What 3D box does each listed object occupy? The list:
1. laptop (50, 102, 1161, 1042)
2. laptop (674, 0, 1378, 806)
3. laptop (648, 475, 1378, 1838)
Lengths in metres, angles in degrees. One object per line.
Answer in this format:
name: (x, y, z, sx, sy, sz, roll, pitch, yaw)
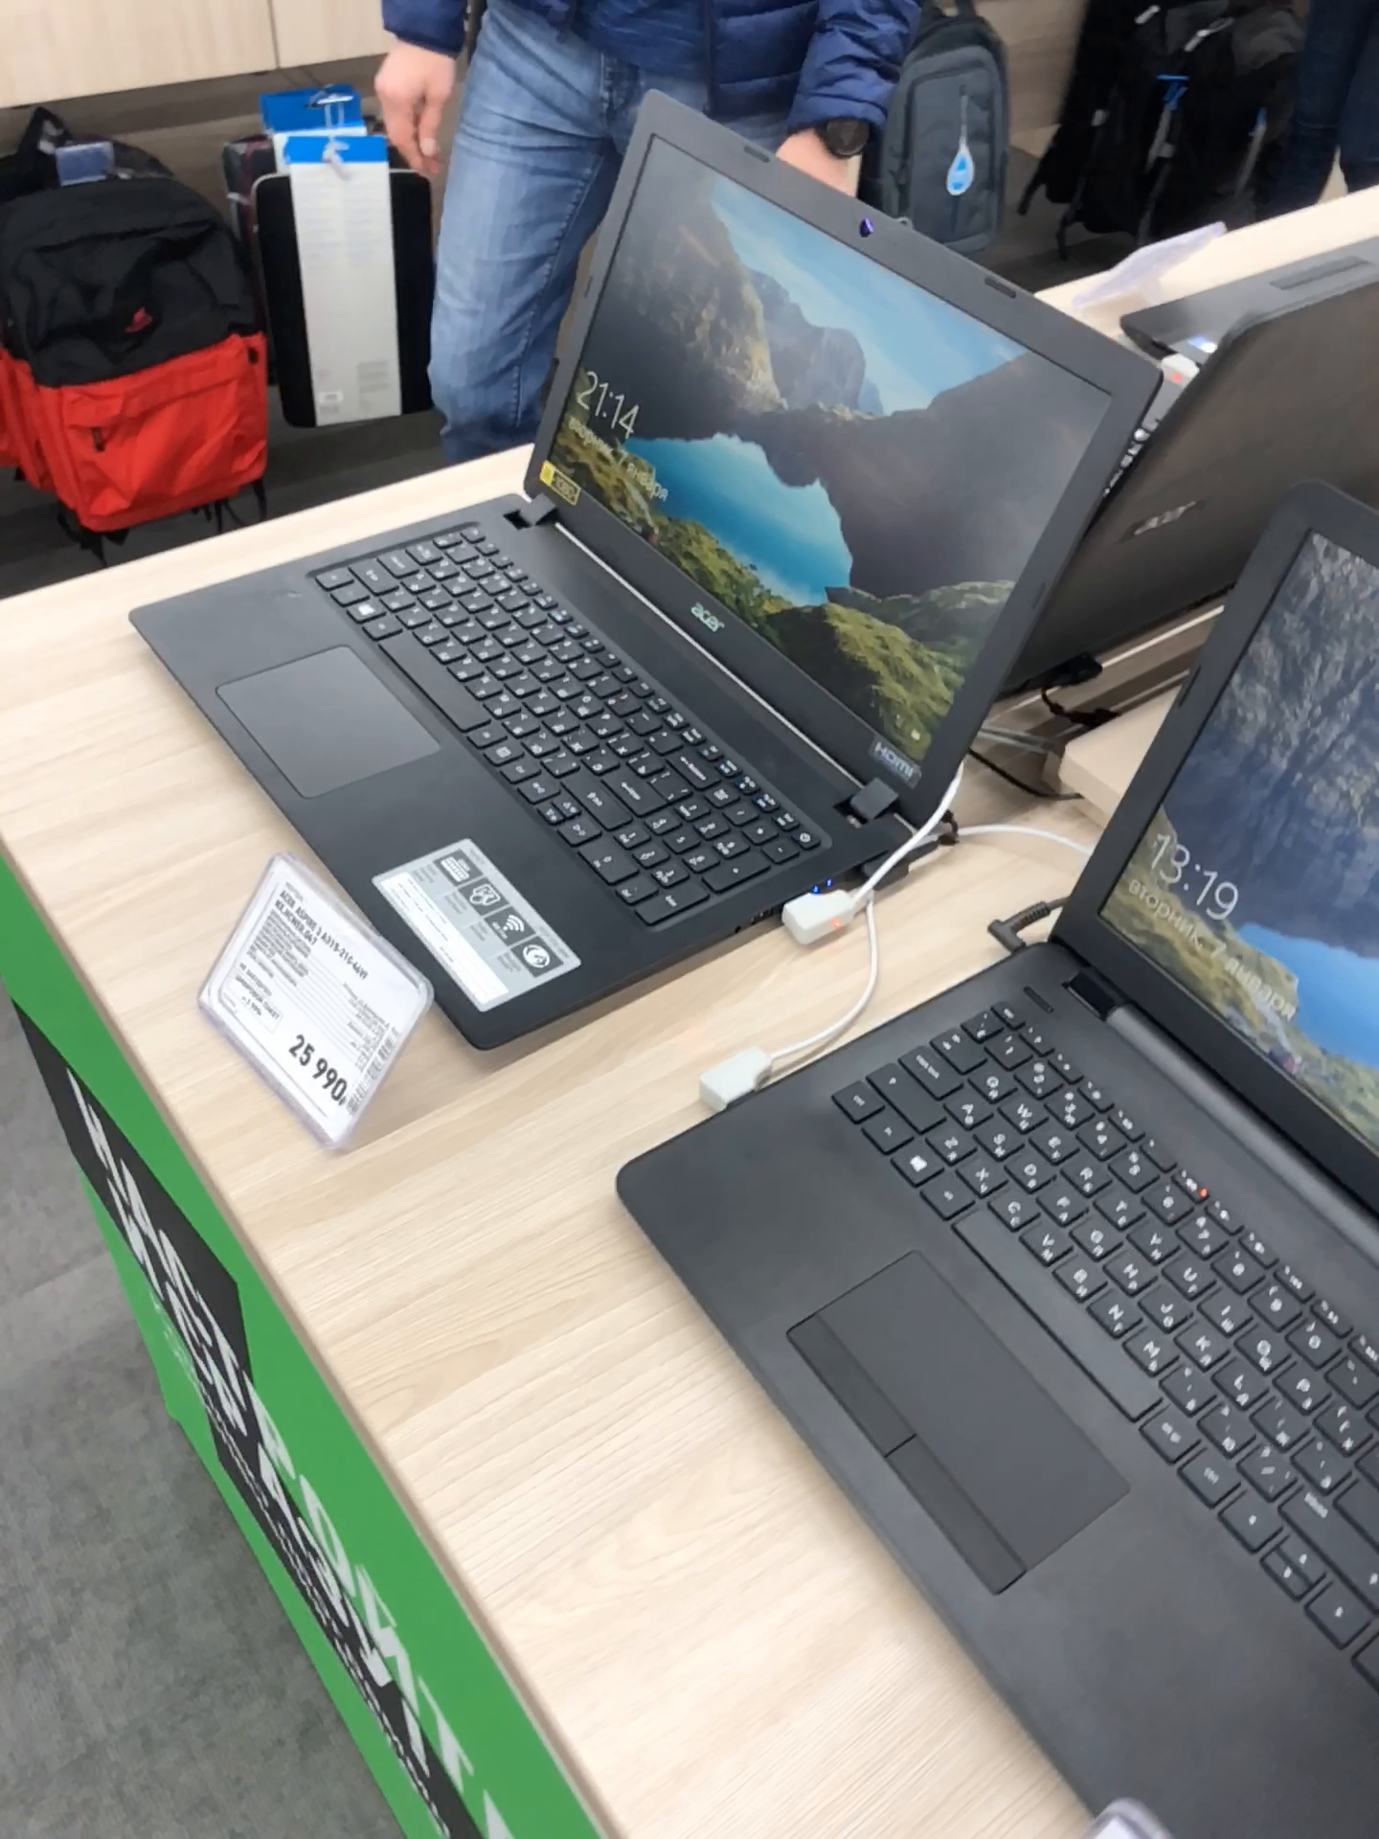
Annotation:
laptop: (-0.054, -0.205, 0.755, 0.348, 0.219, 0.375, -26, 53, -26)
laptop: (0.274, -0.339, 0.885, 0.402, 0.250, 0.396, -26, 51, -26)
laptop: (0.205, 0.083, 0.488, 0.295, 0.221, 0.360, -26, 52, -25)
